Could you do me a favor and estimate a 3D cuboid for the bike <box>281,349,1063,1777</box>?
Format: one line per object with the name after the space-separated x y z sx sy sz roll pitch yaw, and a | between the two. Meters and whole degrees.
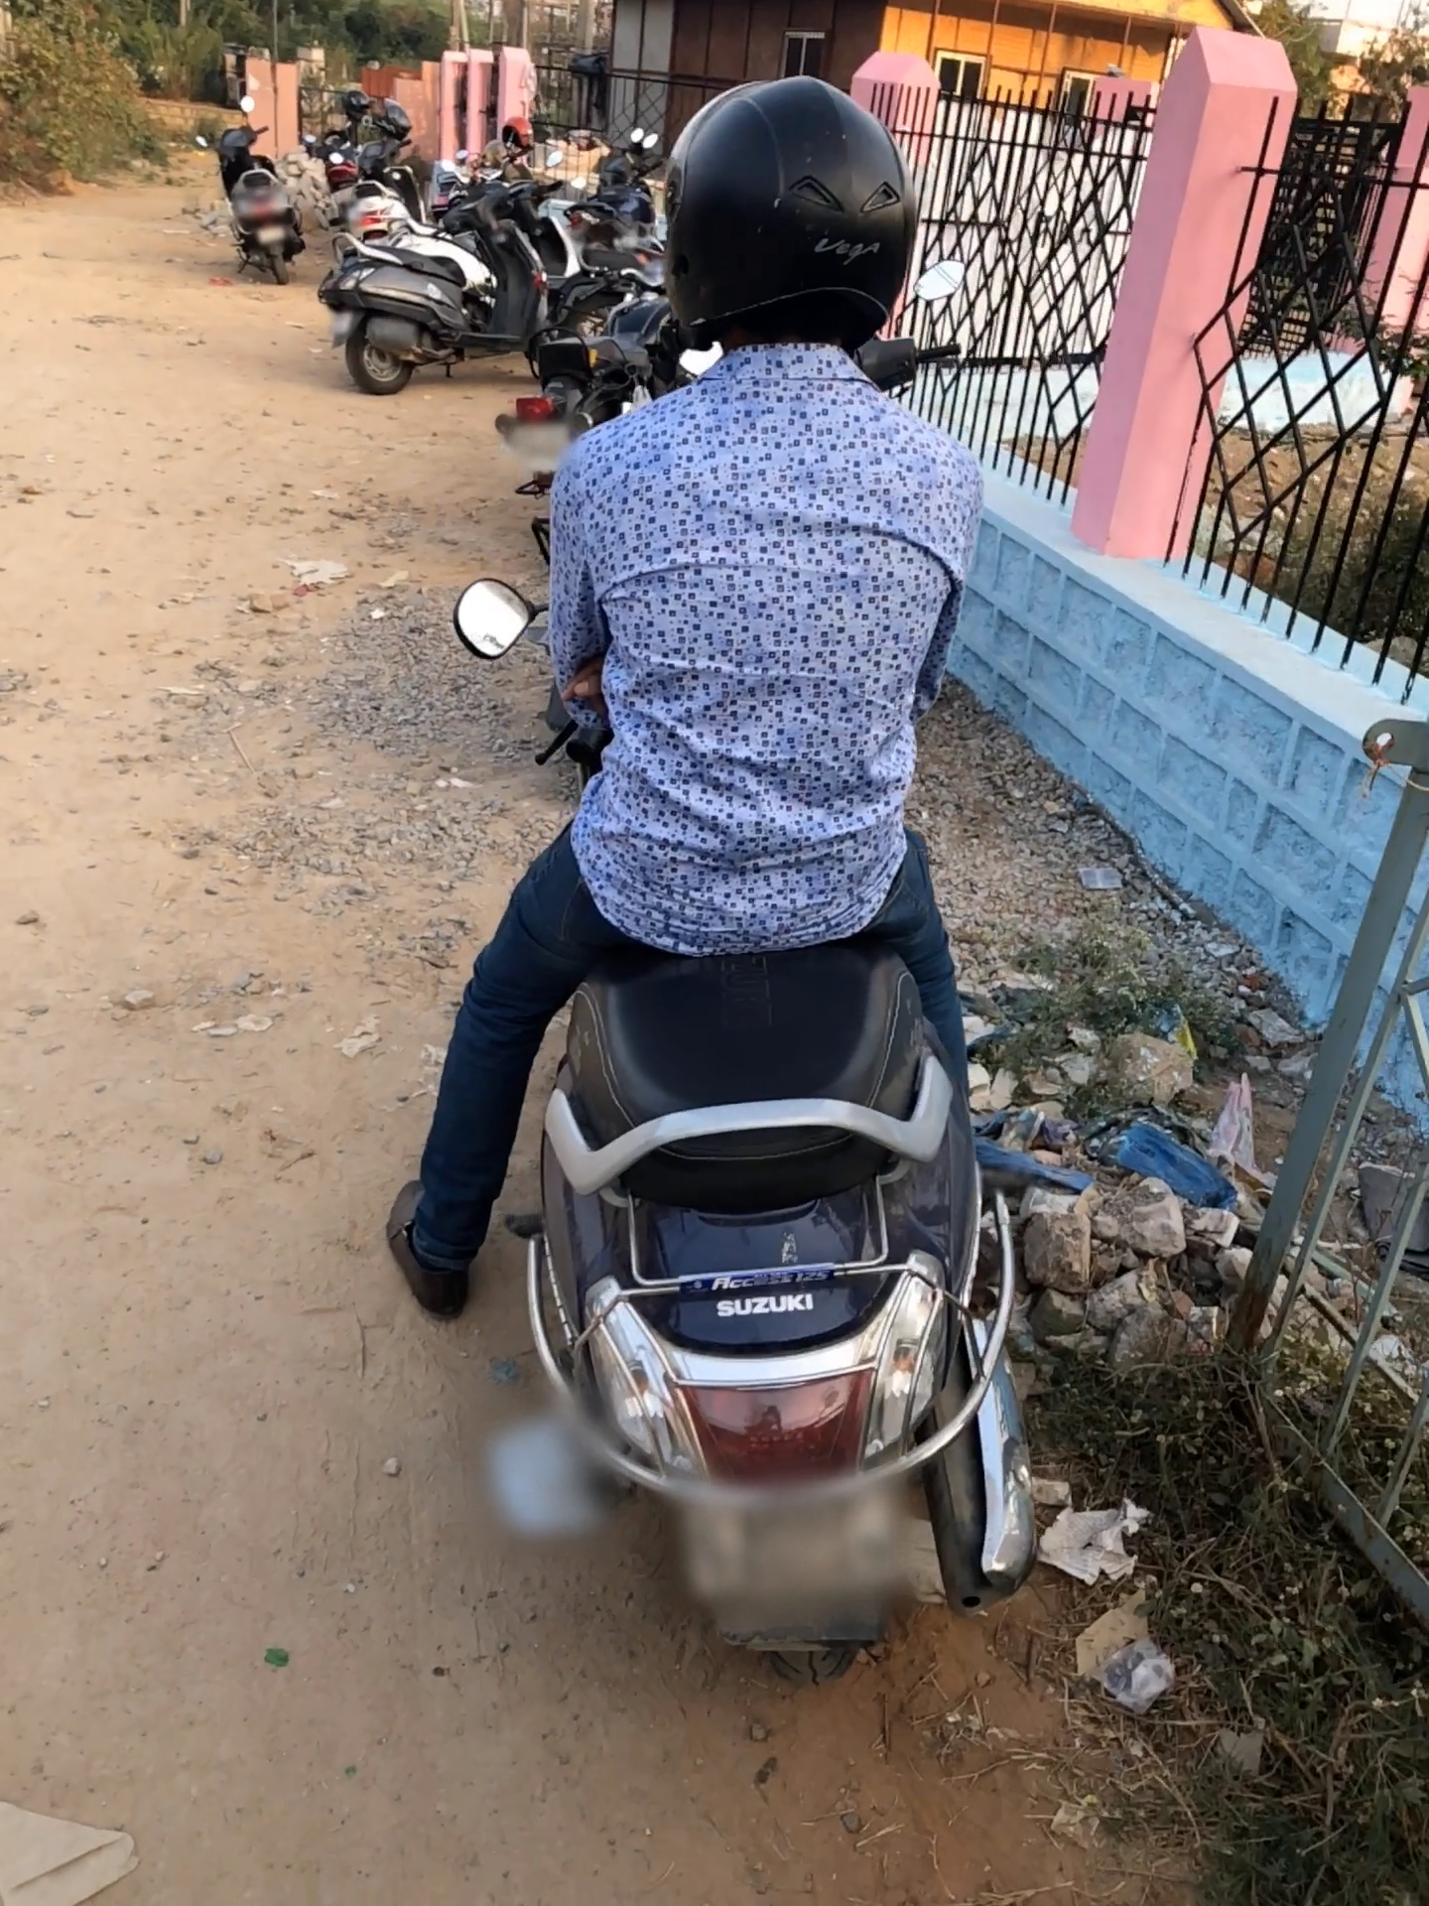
-0.236 0.001 1.997 0.593 1.013 1.400 0 33 -13 | bike
